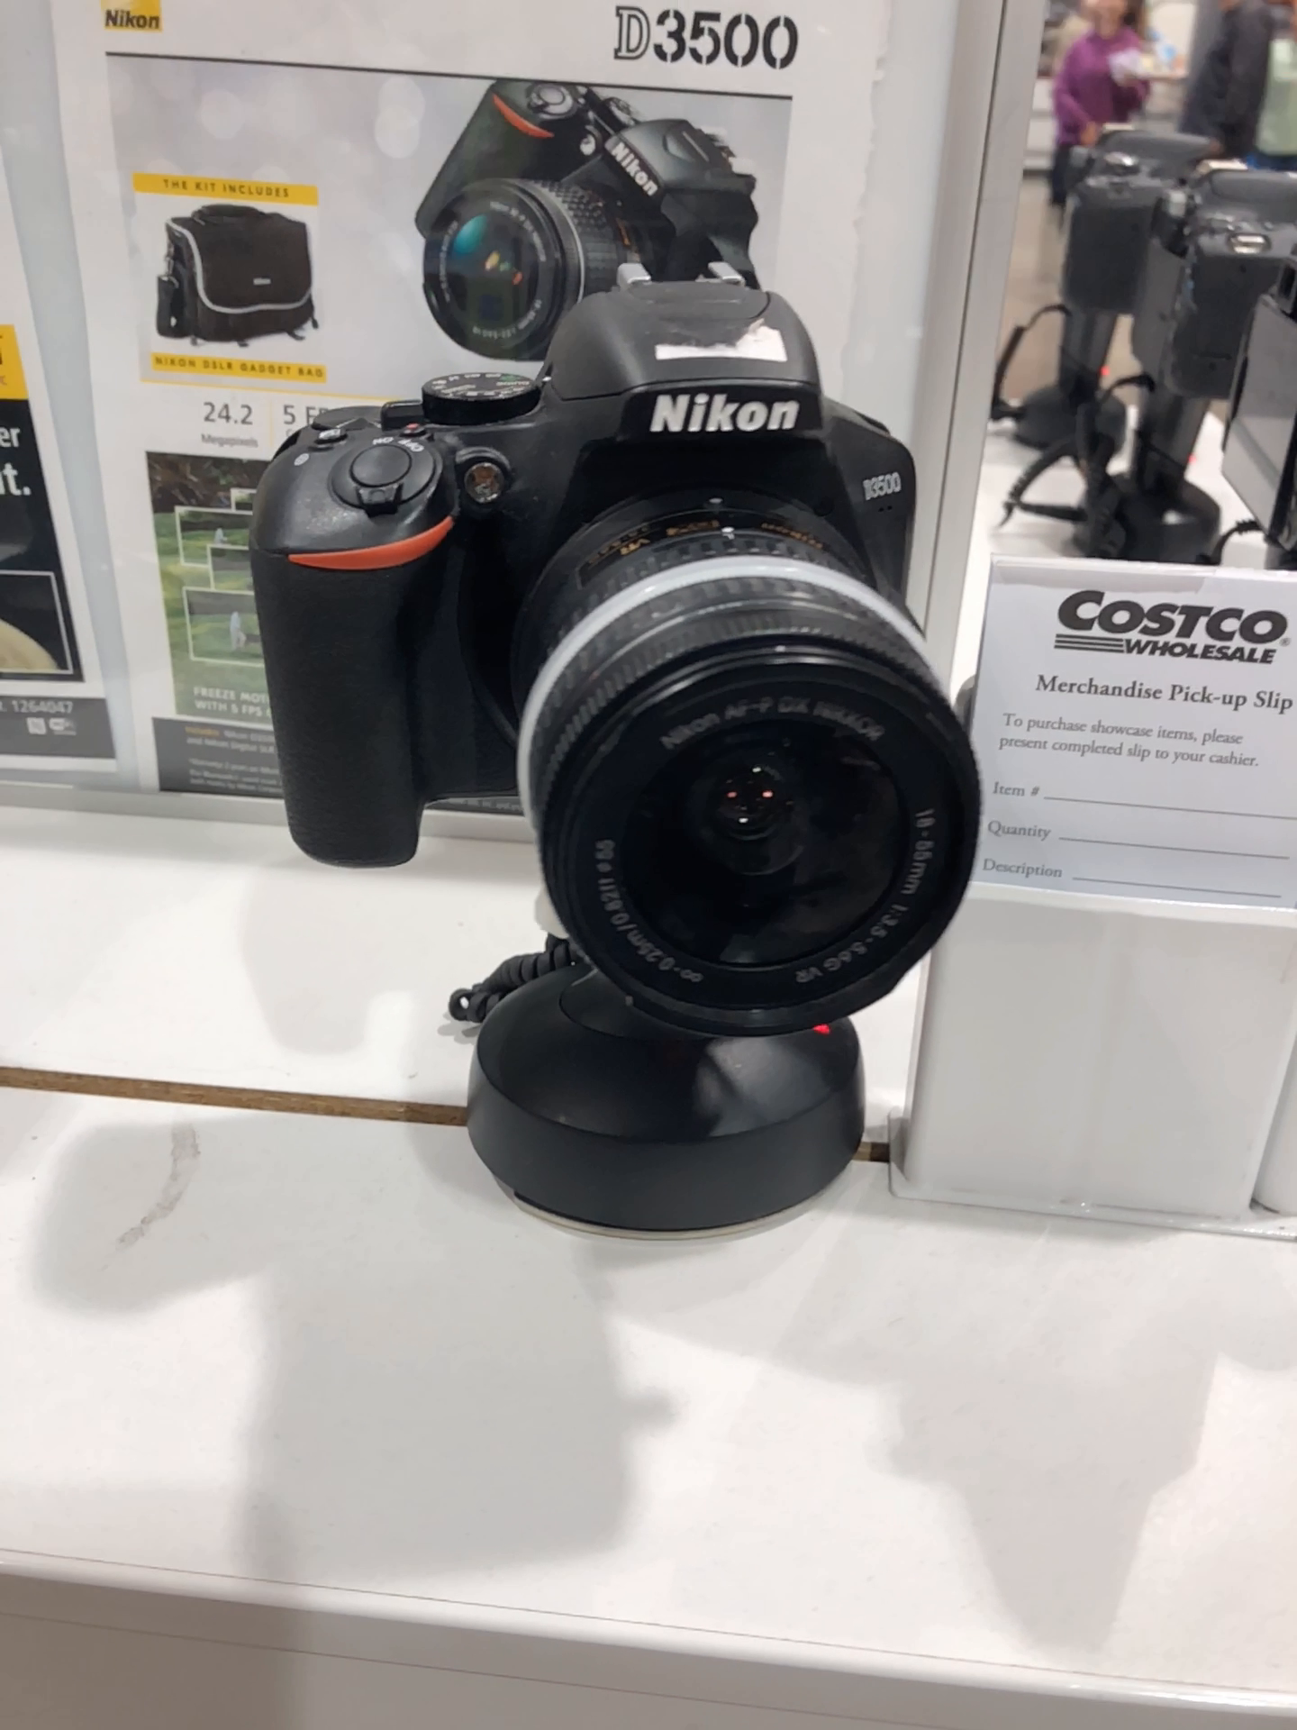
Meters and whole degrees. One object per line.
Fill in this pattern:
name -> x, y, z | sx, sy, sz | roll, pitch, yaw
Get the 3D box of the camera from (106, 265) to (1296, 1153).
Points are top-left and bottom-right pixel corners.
camera -> 0.001, -0.037, 0.238 | 0.140, 0.100, 0.121 | -4, 29, -9
